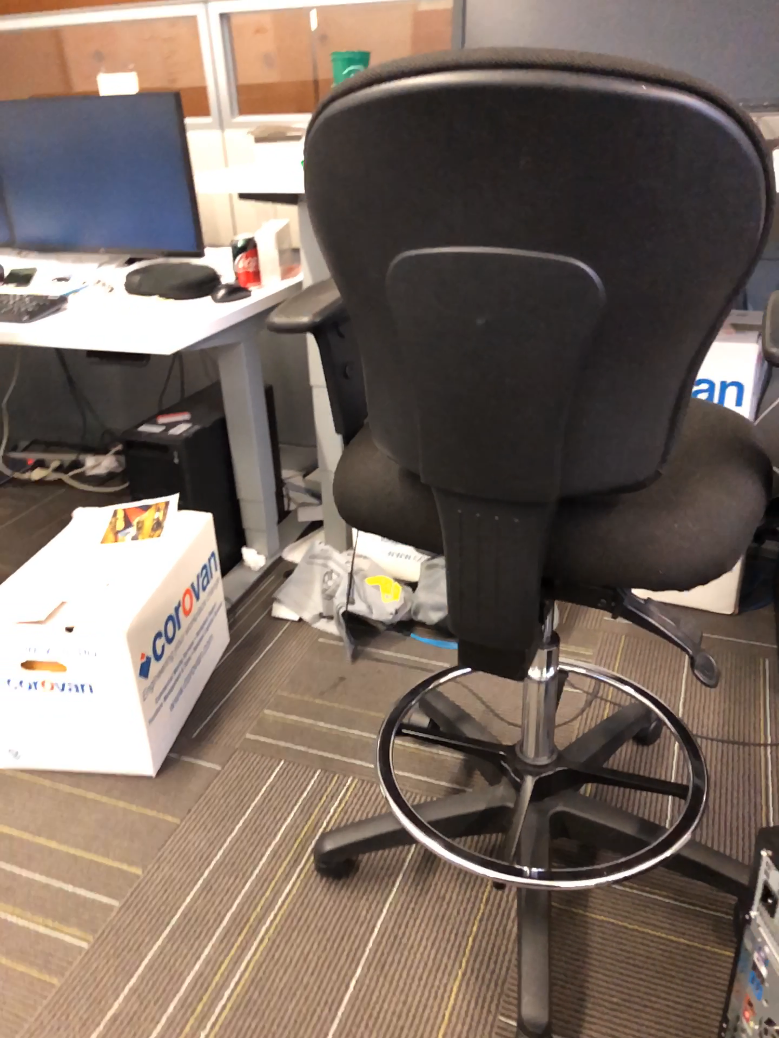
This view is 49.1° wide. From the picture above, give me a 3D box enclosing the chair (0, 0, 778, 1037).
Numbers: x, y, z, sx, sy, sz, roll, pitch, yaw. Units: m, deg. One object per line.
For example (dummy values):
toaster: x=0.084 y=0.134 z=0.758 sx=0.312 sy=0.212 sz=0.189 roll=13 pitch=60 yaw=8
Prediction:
chair: x=0.123 y=-0.028 z=1.191 sx=0.890 sy=1.104 sz=0.965 roll=7 pitch=28 yaw=19
